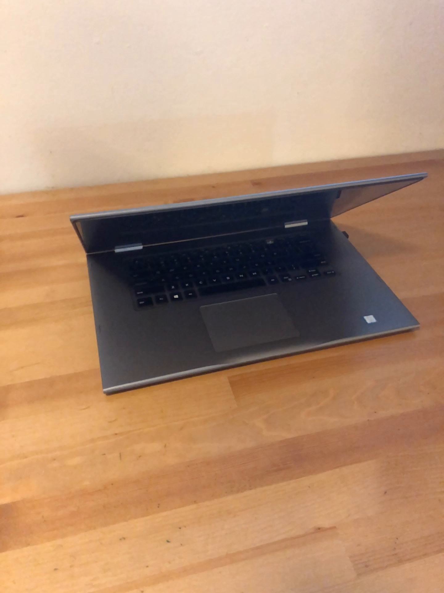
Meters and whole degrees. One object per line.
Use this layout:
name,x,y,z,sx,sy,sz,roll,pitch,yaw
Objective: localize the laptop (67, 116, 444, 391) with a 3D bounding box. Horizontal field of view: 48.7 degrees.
laptop,0.026,-0.074,0.592,0.375,0.165,0.248,-10,42,-13
